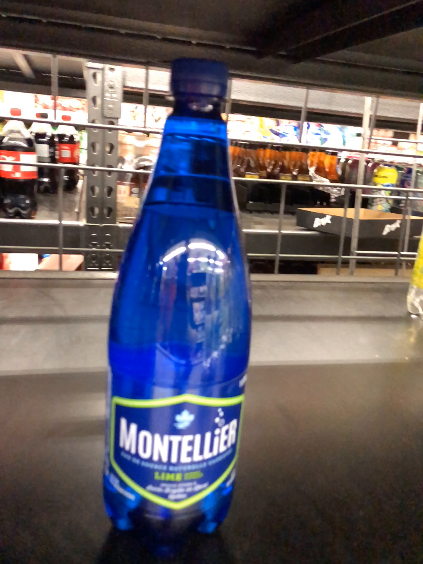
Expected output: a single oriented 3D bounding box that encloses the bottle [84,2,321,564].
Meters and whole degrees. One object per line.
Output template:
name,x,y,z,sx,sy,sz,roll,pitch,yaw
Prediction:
bottle,-0.021,0.012,0.278,0.100,0.288,0.090,1,17,-12
